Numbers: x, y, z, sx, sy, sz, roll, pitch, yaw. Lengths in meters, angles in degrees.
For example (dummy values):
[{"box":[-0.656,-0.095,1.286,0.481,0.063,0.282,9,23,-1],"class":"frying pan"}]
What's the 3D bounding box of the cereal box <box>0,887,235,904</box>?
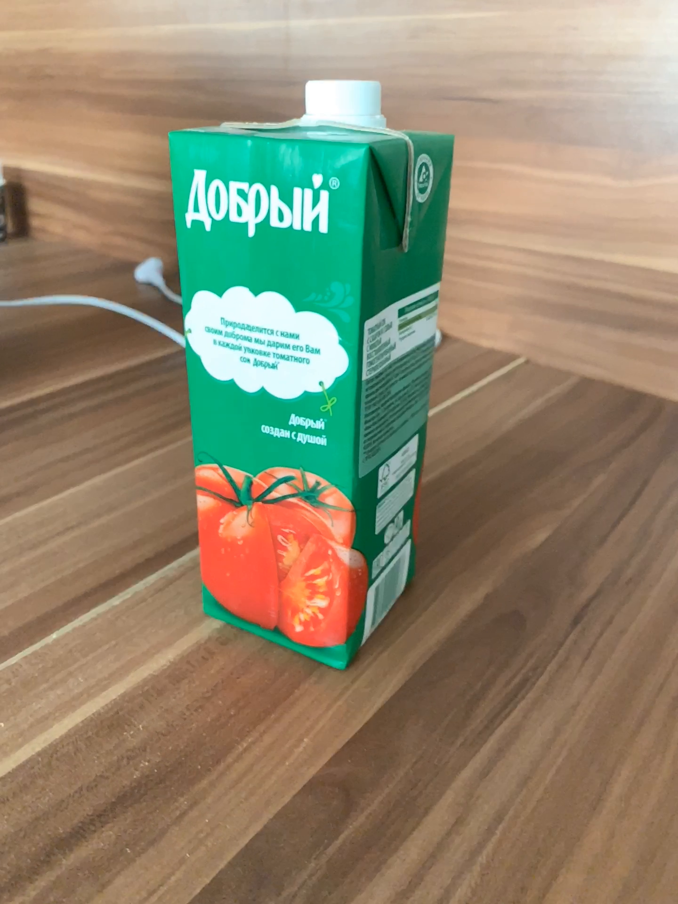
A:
[{"box":[-0.380,0.670,0.172,0.590,0.836,0.613,1,27,-1],"class":"cereal box"}]
